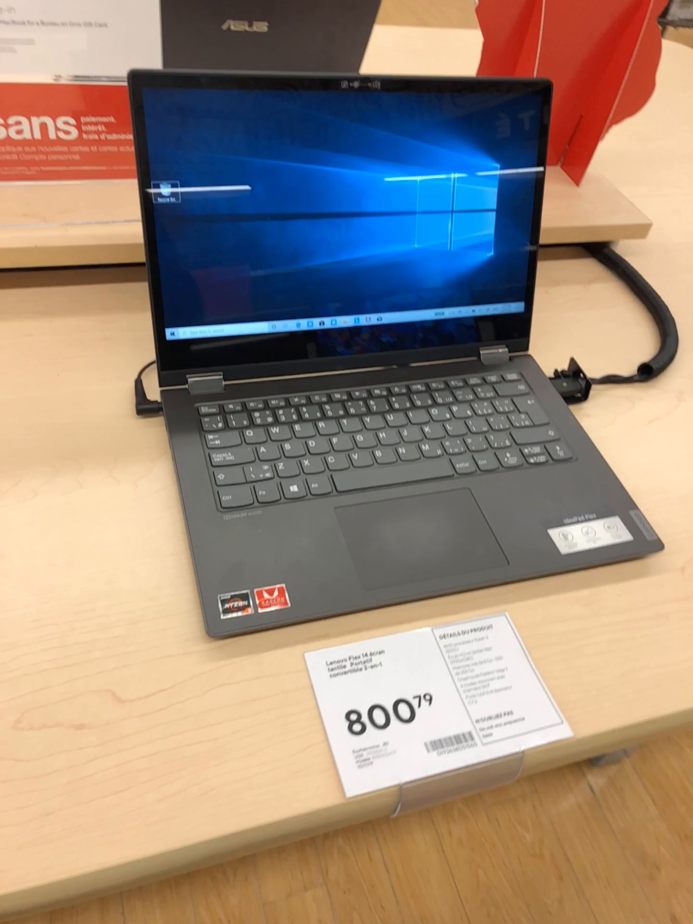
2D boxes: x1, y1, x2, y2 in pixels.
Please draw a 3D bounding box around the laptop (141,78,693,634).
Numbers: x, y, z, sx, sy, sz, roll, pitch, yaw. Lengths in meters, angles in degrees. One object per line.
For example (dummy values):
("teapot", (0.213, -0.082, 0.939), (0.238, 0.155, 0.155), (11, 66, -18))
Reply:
("laptop", (0.044, -0.096, 0.524), (0.319, 0.199, 0.307), (-7, 48, -17))
